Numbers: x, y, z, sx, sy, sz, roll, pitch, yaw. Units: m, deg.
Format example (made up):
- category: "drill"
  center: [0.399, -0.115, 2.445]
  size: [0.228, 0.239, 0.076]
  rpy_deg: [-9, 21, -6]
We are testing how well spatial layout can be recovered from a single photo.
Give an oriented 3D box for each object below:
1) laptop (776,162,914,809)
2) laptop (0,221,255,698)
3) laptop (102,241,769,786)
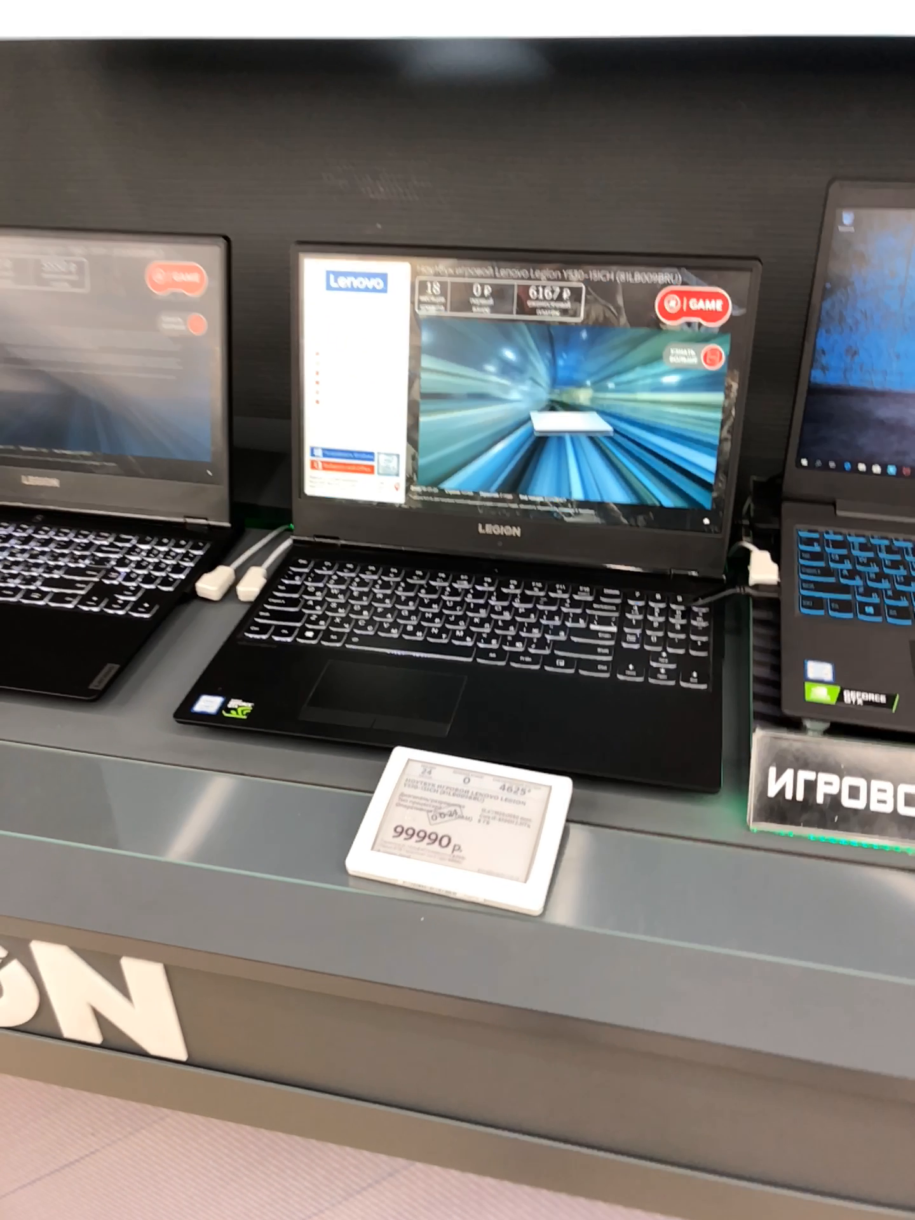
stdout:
- category: "laptop"
  center: [0.409, -0.113, 0.639]
  size: [0.354, 0.225, 0.336]
  rpy_deg: [7, 38, 13]
- category: "laptop"
  center: [-0.392, -0.141, 0.779]
  size: [0.353, 0.223, 0.316]
  rpy_deg: [6, 34, 9]
- category: "laptop"
  center: [0.014, -0.093, 0.692]
  size: [0.352, 0.225, 0.302]
  rpy_deg: [6, 35, 12]
